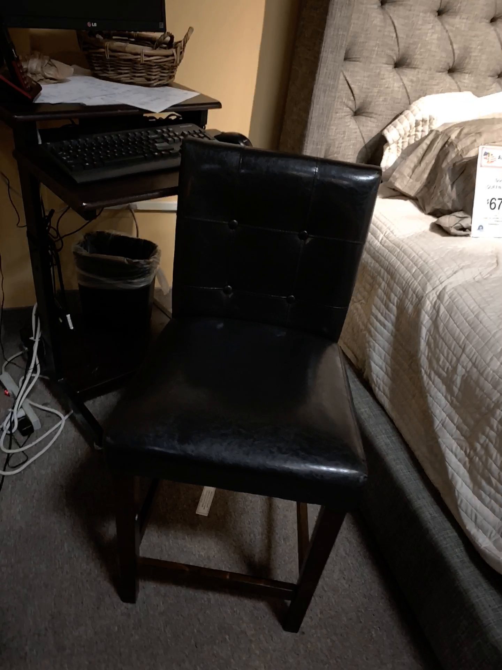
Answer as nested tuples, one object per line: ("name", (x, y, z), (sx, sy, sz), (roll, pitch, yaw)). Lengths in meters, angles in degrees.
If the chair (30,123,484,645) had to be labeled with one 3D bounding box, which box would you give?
("chair", (-0.025, 0.130, 1.098), (0.558, 0.912, 0.520), (10, 35, 1))
